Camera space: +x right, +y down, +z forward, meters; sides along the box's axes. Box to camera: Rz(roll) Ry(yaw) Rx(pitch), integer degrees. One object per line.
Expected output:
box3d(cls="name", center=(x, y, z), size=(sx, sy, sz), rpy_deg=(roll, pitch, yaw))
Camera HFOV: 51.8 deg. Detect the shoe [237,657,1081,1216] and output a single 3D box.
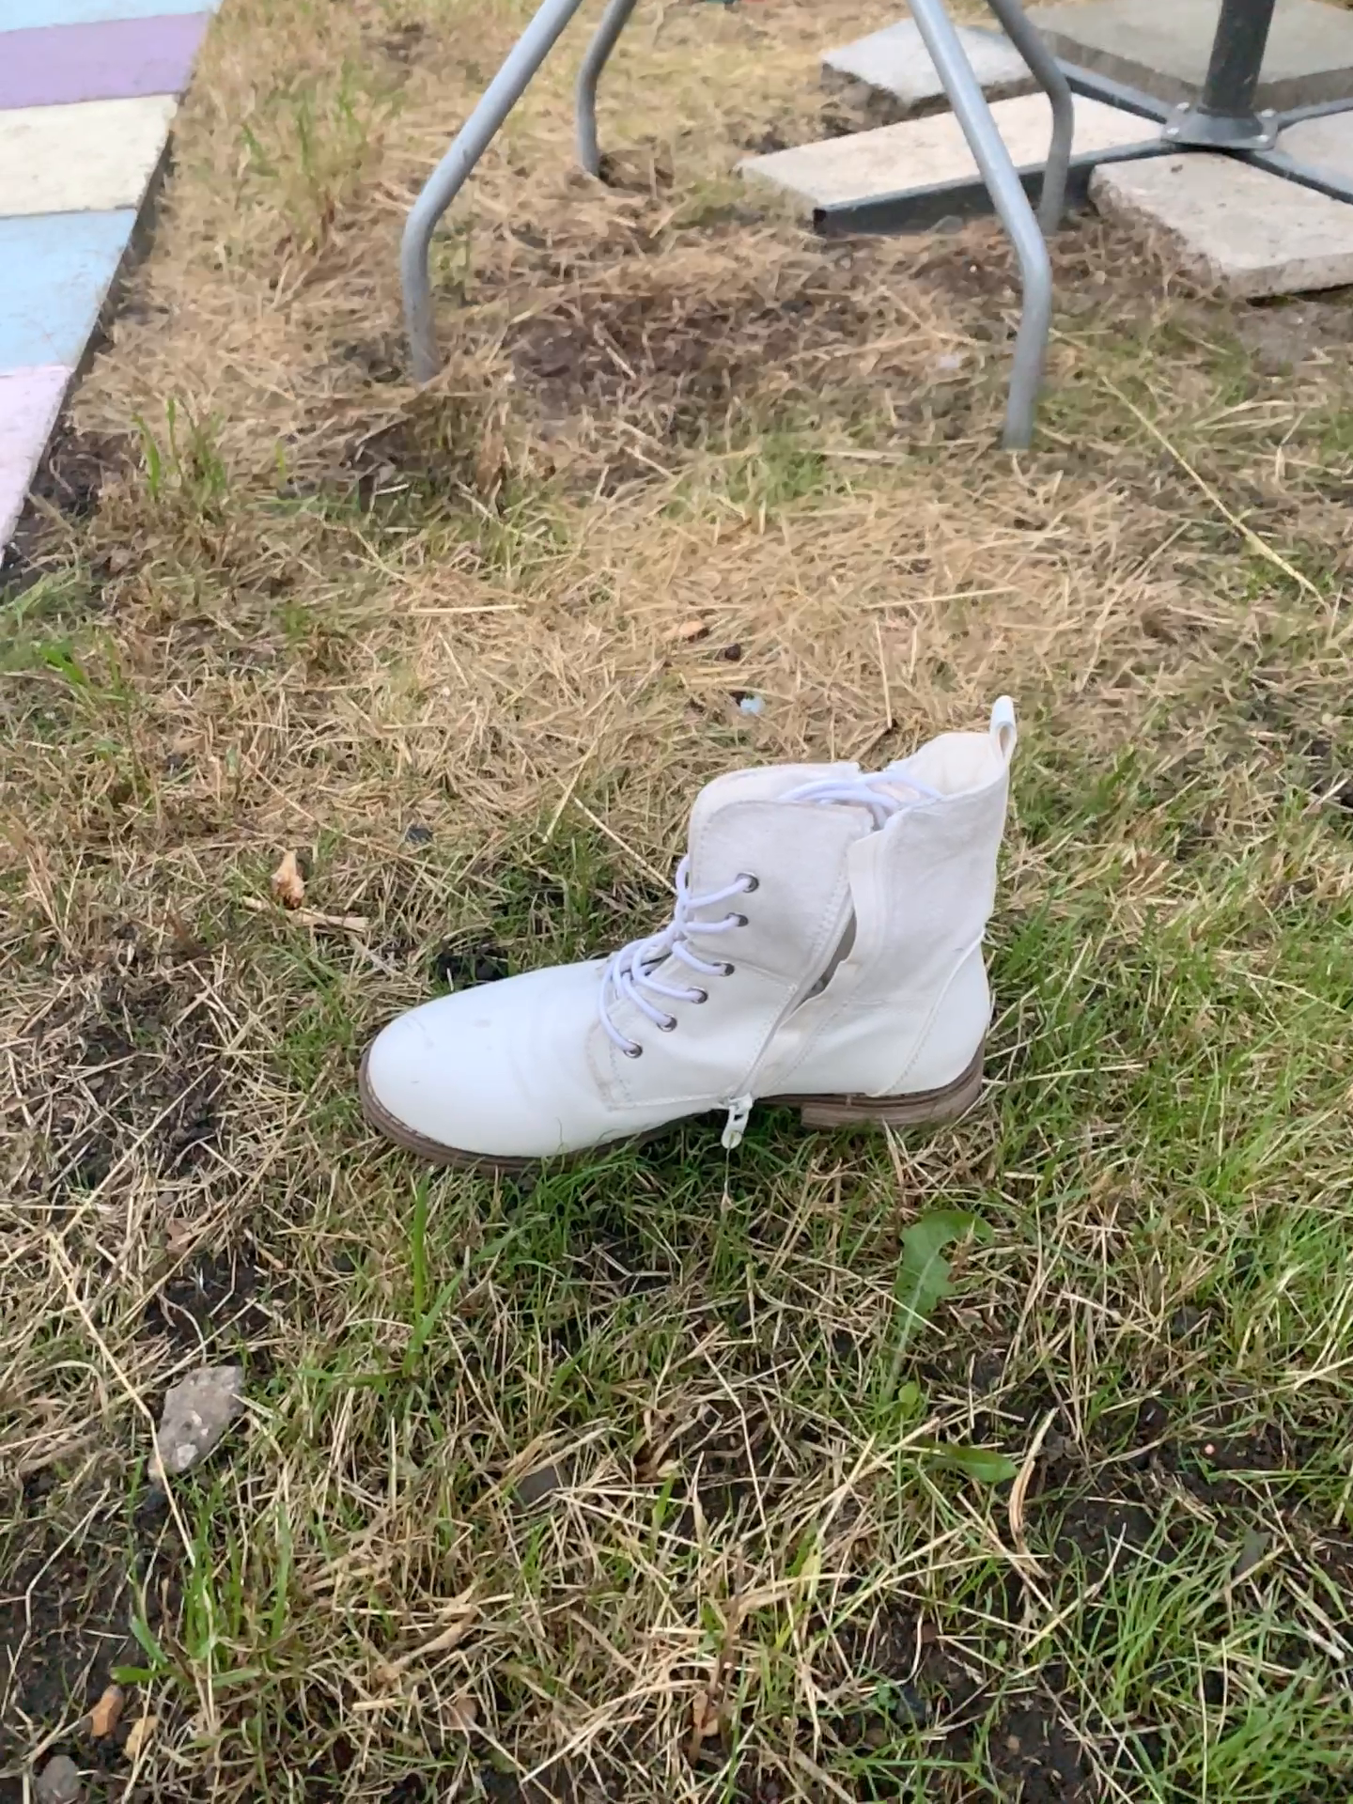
box3d(cls="shoe", center=(-0.006, 0.017, 0.526), size=(0.260, 0.178, 0.101), rpy_deg=(-3, 43, -2))
